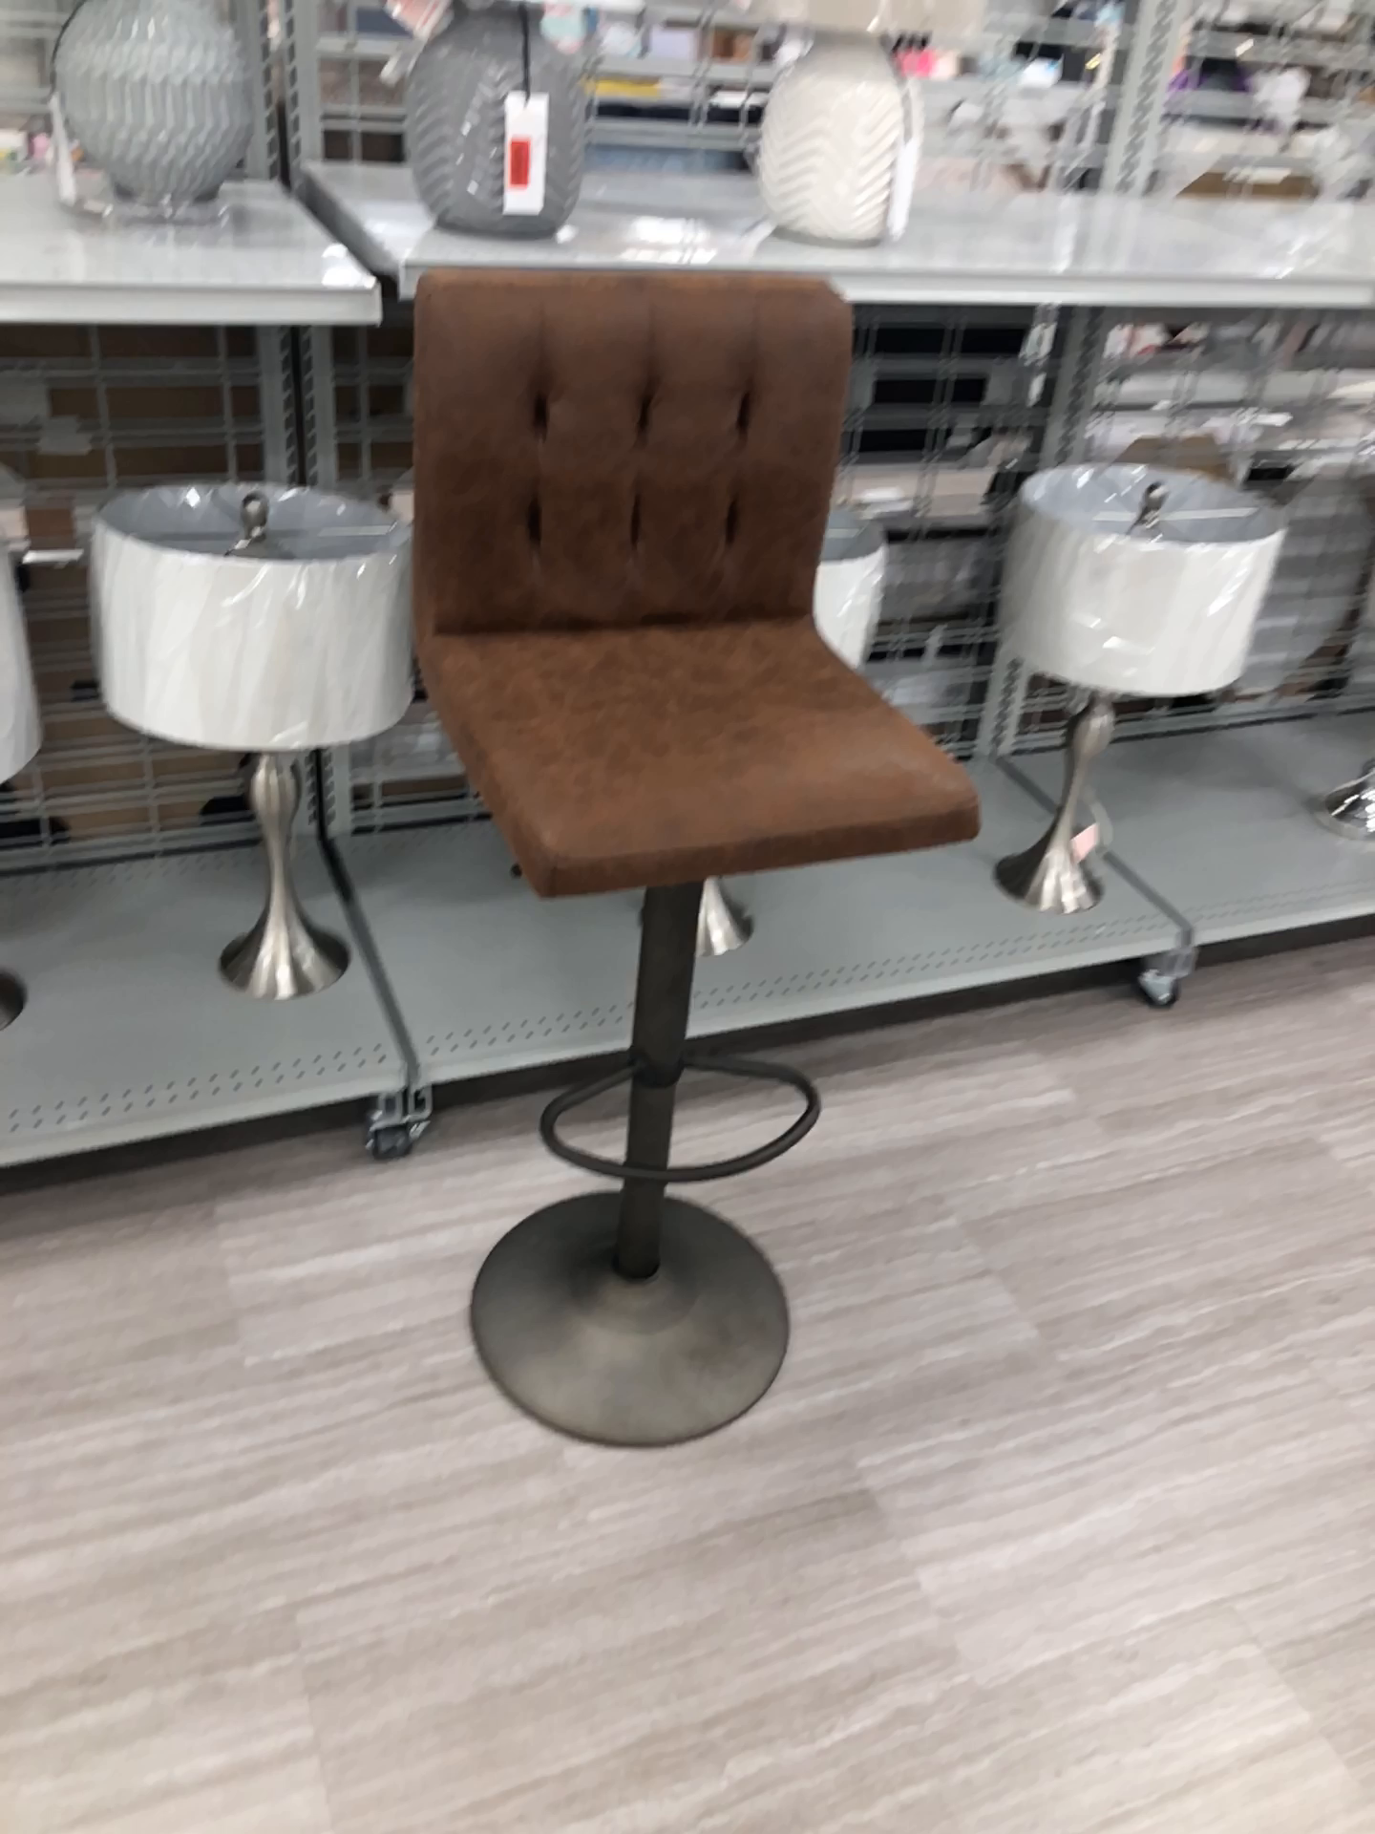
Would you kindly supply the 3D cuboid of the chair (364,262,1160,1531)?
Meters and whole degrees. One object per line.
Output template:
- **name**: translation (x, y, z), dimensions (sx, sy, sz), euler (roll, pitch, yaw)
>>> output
- **chair**: translation (-0.013, 0.001, 1.476), dimensions (0.475, 1.102, 0.470), euler (-9, 36, -20)
